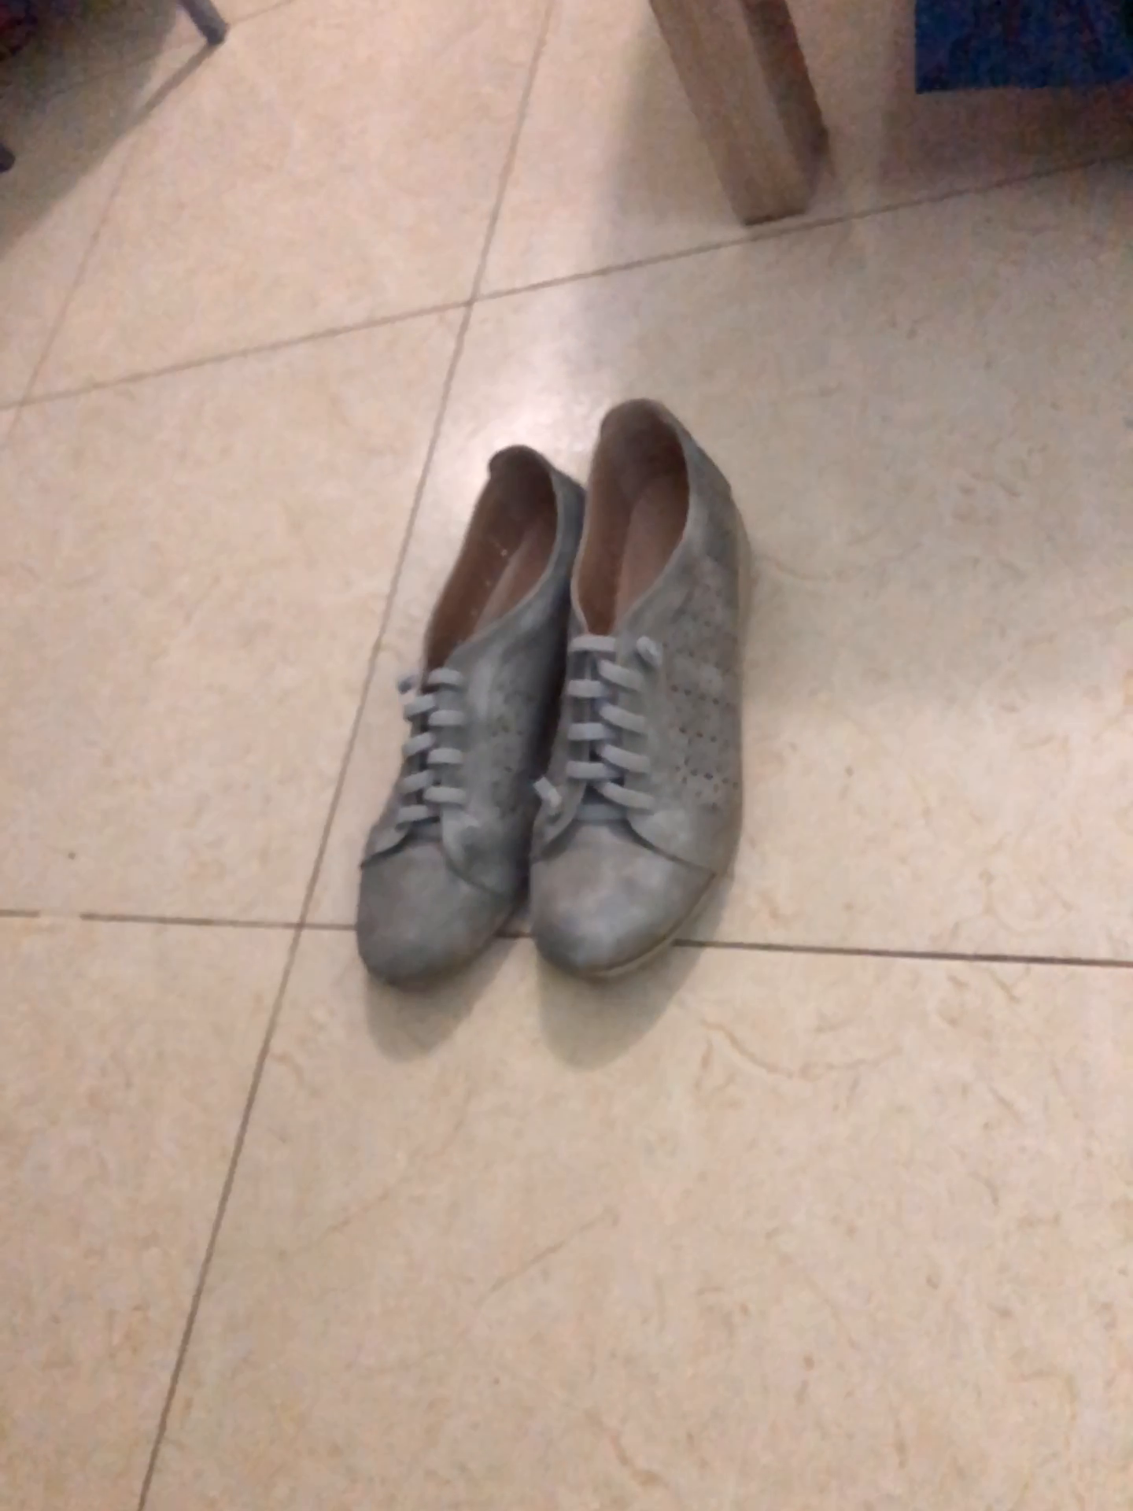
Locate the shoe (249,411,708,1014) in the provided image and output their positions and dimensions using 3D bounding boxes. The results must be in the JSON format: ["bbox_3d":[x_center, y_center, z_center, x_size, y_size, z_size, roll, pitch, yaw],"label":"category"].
[{"bbox_3d":[-0.036,-0.030,0.661,0.100,0.100,0.290,11,69,33],"label":"shoe"}]

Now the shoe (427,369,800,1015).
[{"bbox_3d":[0.034,-0.034,0.619,0.100,0.100,0.290,-1,63,28],"label":"shoe"}]
